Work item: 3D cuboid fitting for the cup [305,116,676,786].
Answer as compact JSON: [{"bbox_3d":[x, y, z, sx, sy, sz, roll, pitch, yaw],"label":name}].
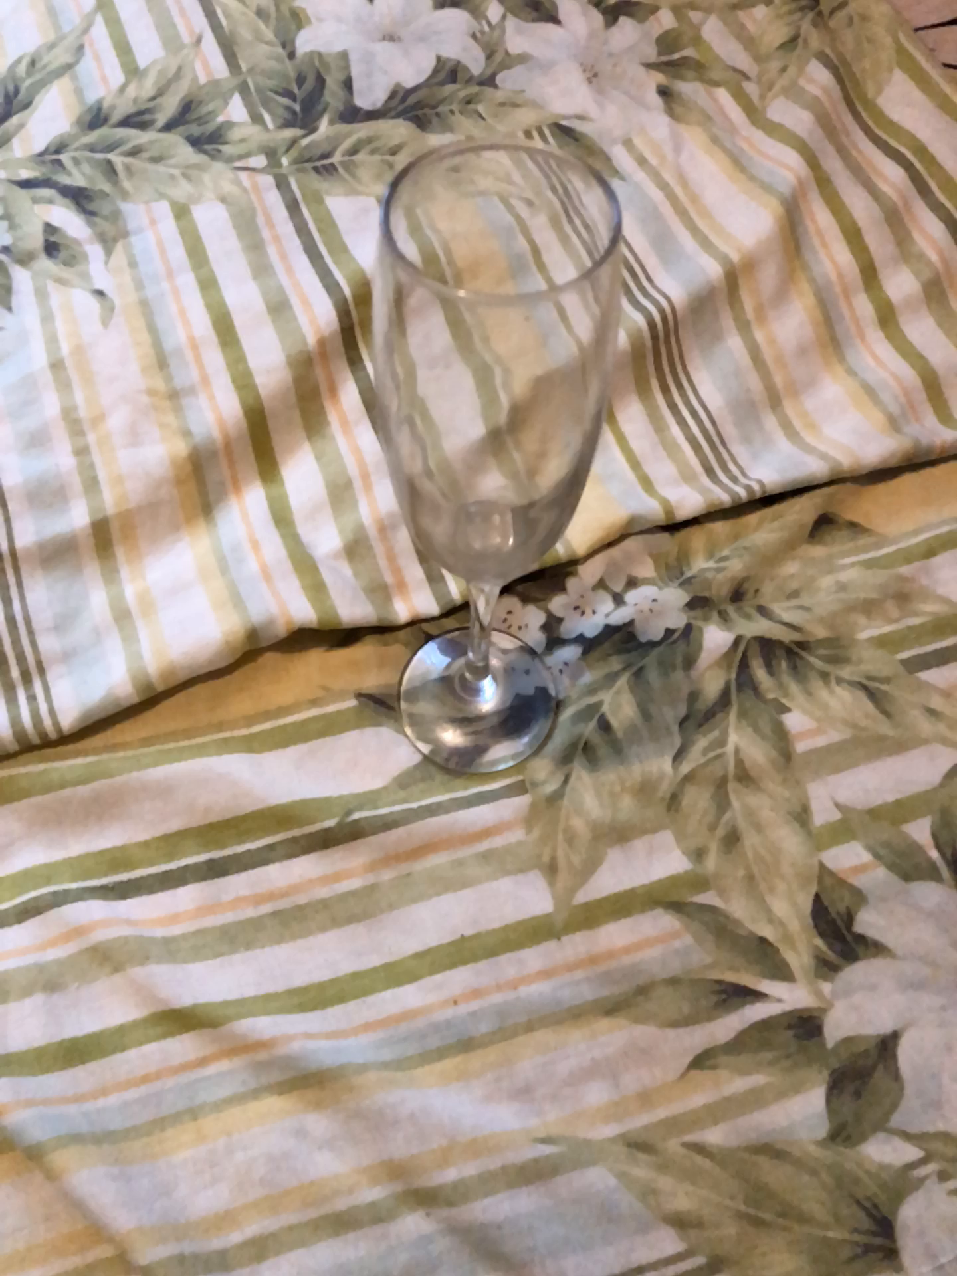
[{"bbox_3d":[0.001,-0.032,0.318,0.071,0.218,0.082,-1,63,-1],"label":"cup"}]
